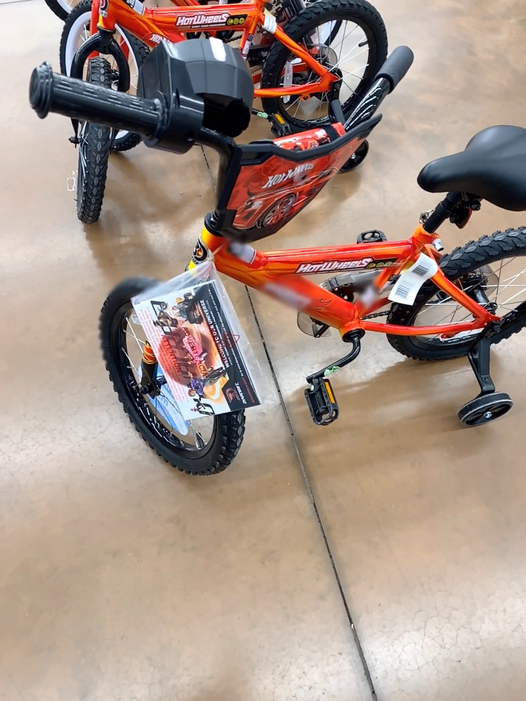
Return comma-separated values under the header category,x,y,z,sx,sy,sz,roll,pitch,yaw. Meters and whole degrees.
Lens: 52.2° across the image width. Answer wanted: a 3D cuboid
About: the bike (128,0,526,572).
category,x,y,z,sx,sy,sz,roll,pitch,yaw
bike,0.230,-0.117,0.972,0.740,0.825,0.511,-23,60,-9
